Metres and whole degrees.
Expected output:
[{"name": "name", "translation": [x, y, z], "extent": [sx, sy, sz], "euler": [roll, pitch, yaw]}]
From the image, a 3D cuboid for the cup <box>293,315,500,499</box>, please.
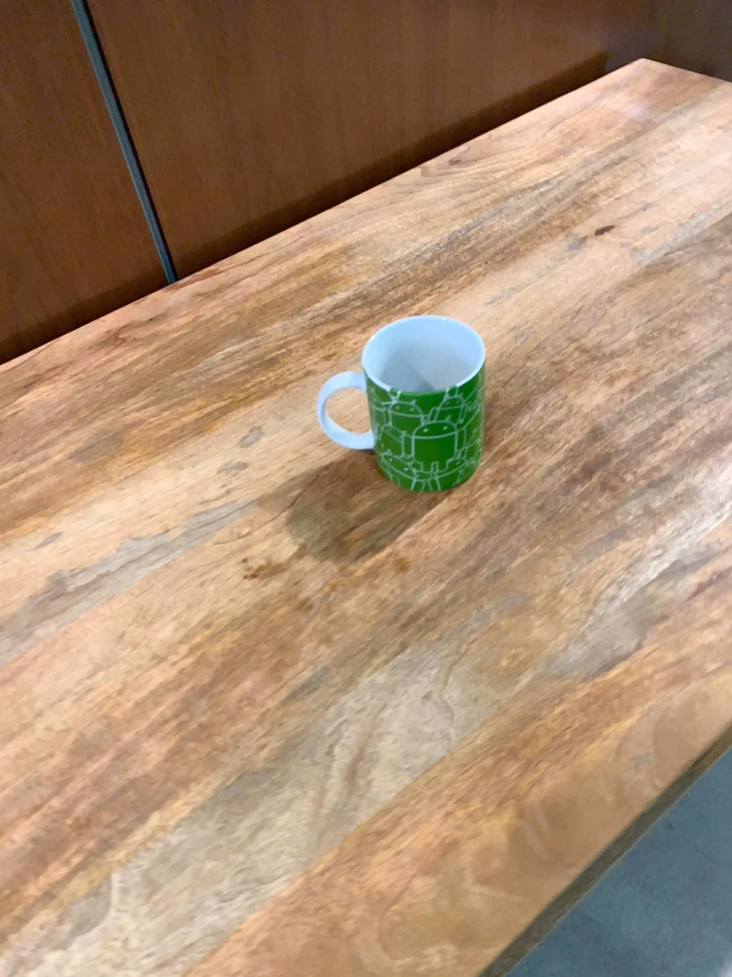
[{"name": "cup", "translation": [0.026, -0.057, 0.530], "extent": [0.130, 0.080, 0.100], "euler": [-1, 49, 8]}]
